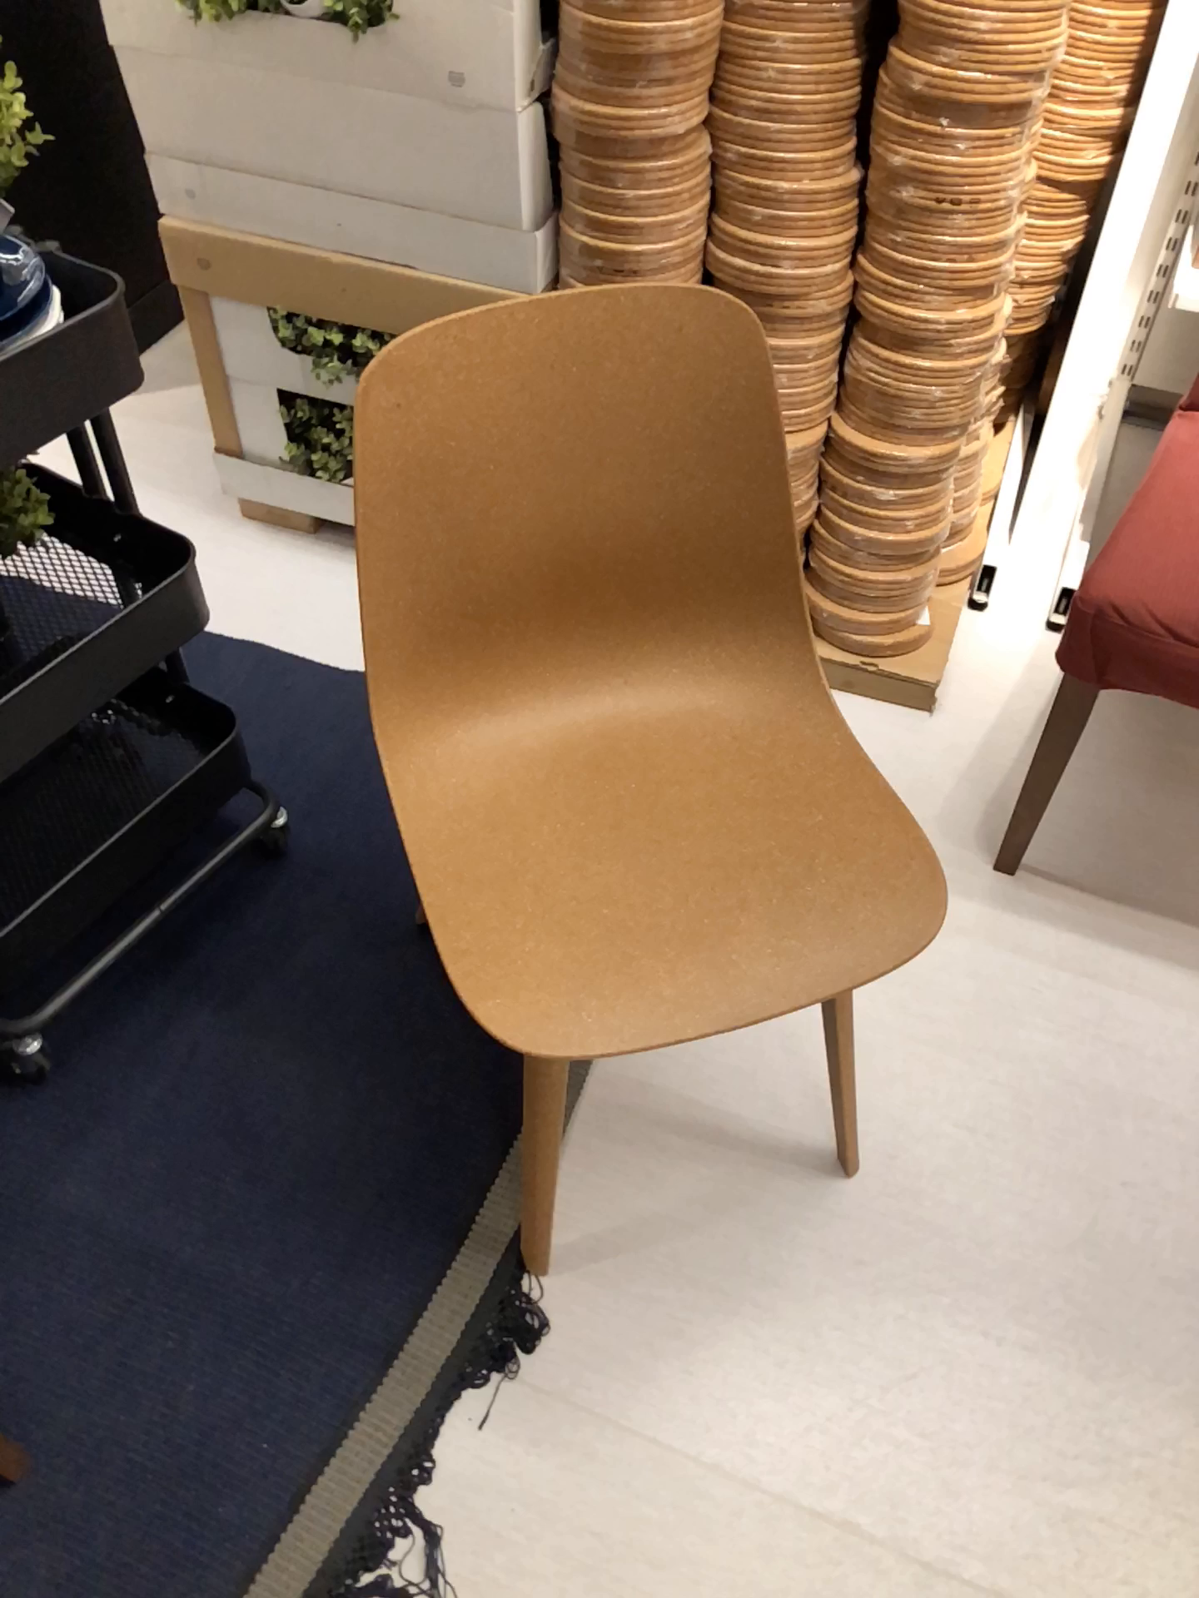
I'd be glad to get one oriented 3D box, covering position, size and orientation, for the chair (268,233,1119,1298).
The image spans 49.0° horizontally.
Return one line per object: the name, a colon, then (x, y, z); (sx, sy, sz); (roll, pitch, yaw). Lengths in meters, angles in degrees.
chair: (0.025, -0.005, 1.225); (0.440, 0.745, 0.553); (-14, 51, -12)
